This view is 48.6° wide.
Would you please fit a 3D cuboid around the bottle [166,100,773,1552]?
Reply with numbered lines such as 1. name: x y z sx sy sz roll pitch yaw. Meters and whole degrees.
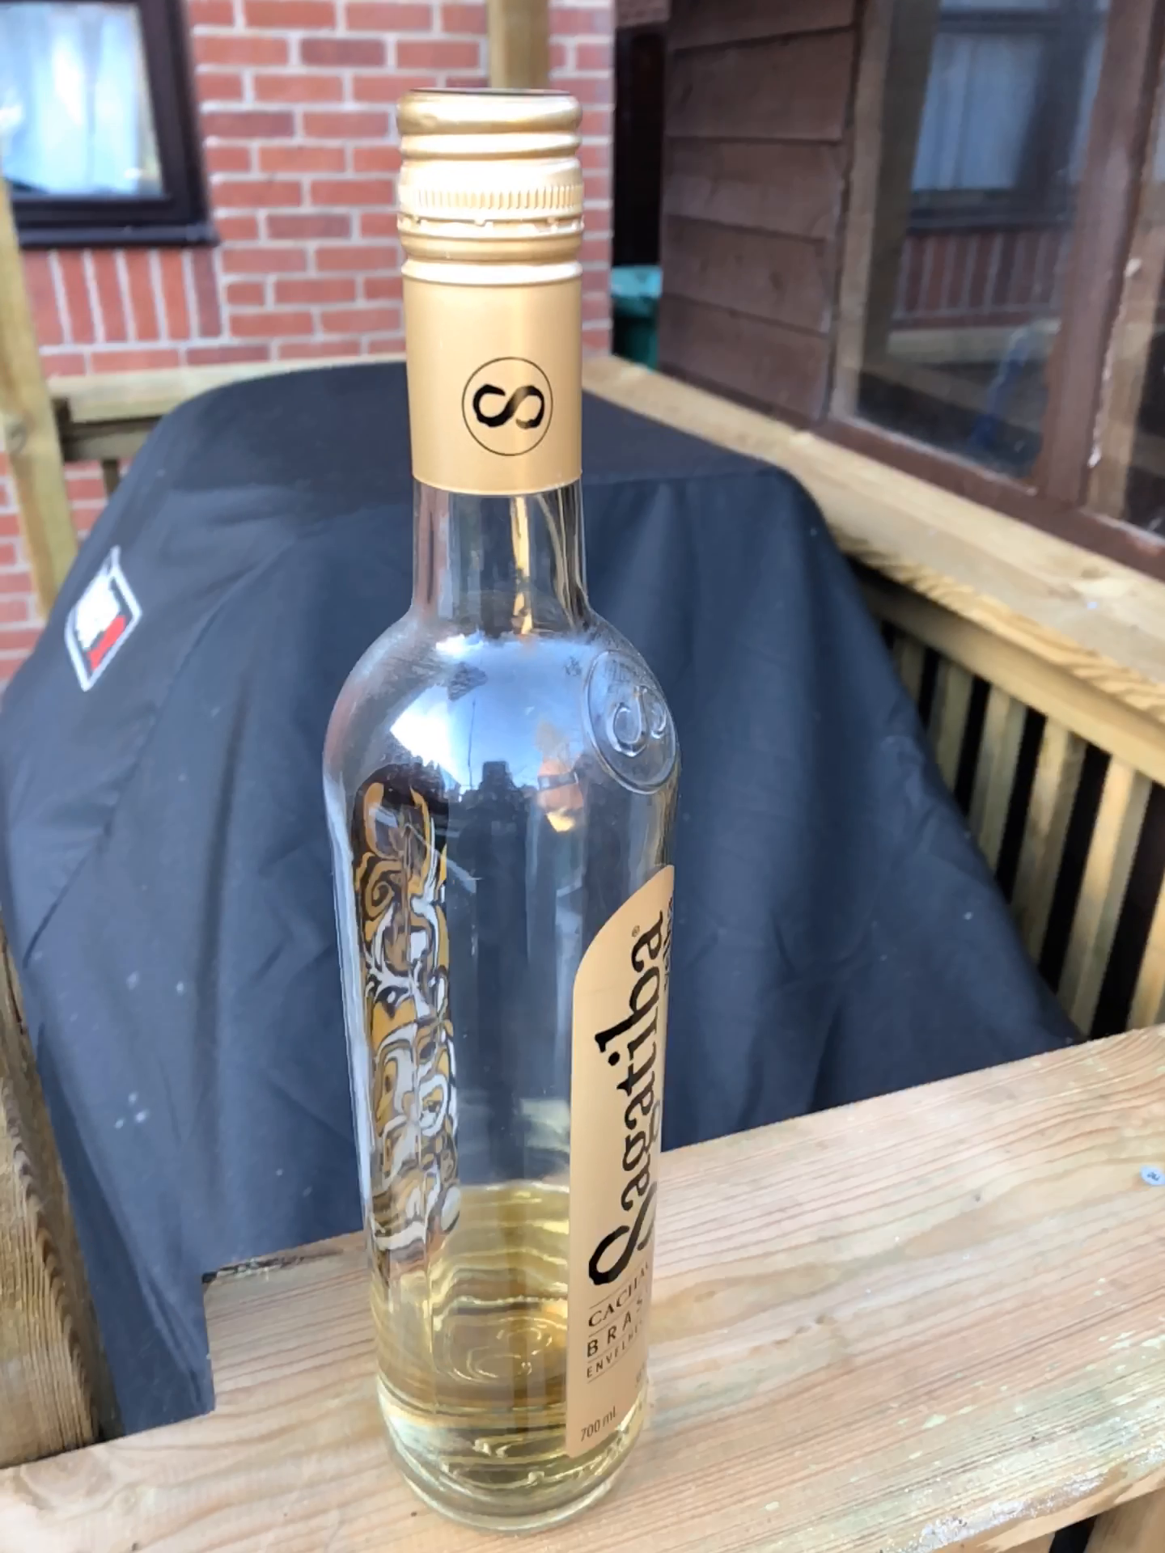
1. bottle: -0.015 0.039 0.281 0.060 0.328 0.080 18 31 33
